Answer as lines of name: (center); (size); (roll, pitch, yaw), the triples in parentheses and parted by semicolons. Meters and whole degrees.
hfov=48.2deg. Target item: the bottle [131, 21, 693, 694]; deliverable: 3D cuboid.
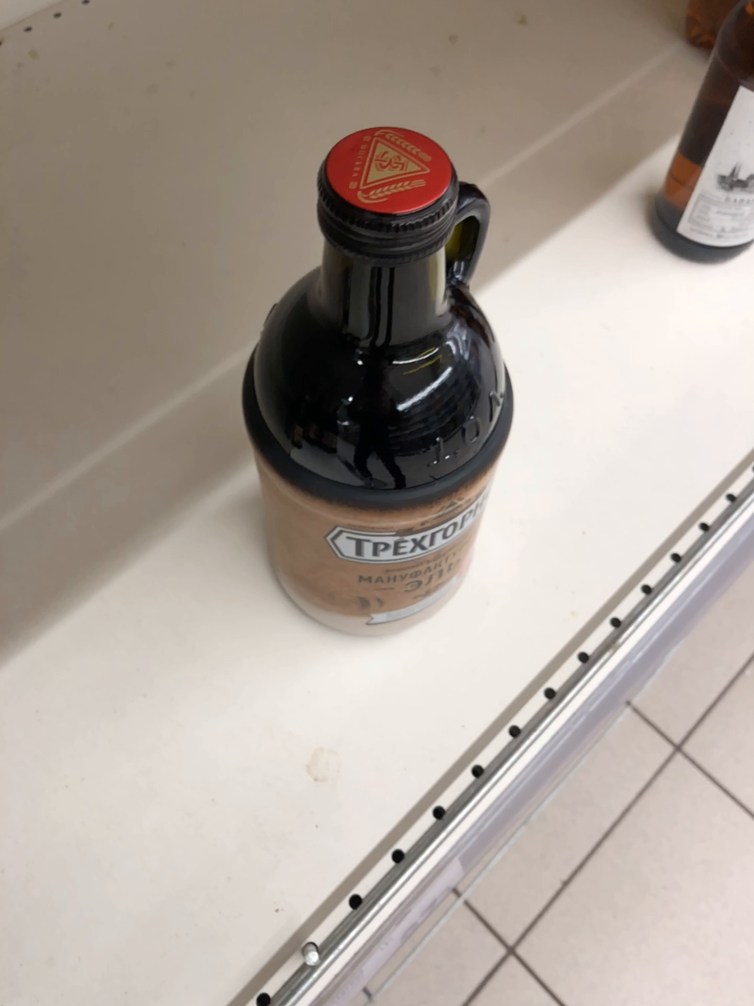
bottle: (0.005, -0.029, 0.319); (0.110, 0.225, 0.100); (1, 62, -1)
